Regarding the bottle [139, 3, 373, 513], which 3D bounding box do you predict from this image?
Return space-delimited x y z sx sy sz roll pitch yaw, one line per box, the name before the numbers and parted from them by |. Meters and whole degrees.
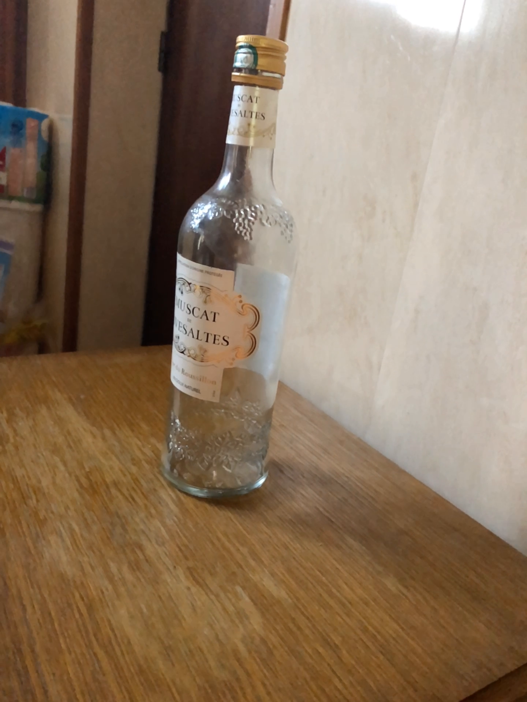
bottle | -0.014 -0.050 0.380 0.080 0.289 0.080 8 18 -3
